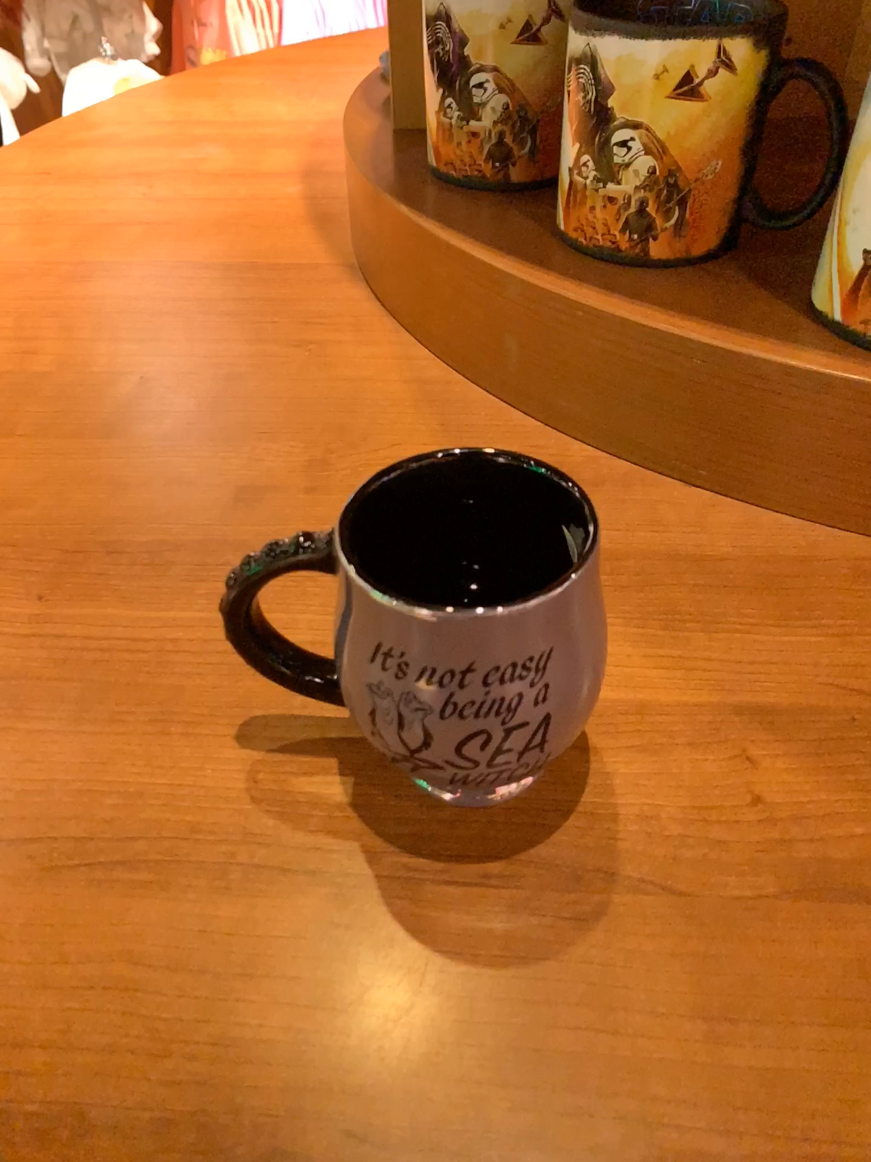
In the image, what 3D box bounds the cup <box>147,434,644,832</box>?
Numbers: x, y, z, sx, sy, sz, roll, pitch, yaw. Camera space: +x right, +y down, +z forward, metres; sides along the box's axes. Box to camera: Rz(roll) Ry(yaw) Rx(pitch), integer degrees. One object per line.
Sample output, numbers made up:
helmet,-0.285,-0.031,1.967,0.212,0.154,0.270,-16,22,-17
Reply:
cup,-0.008,0.015,0.285,0.125,0.089,0.087,1,42,3
